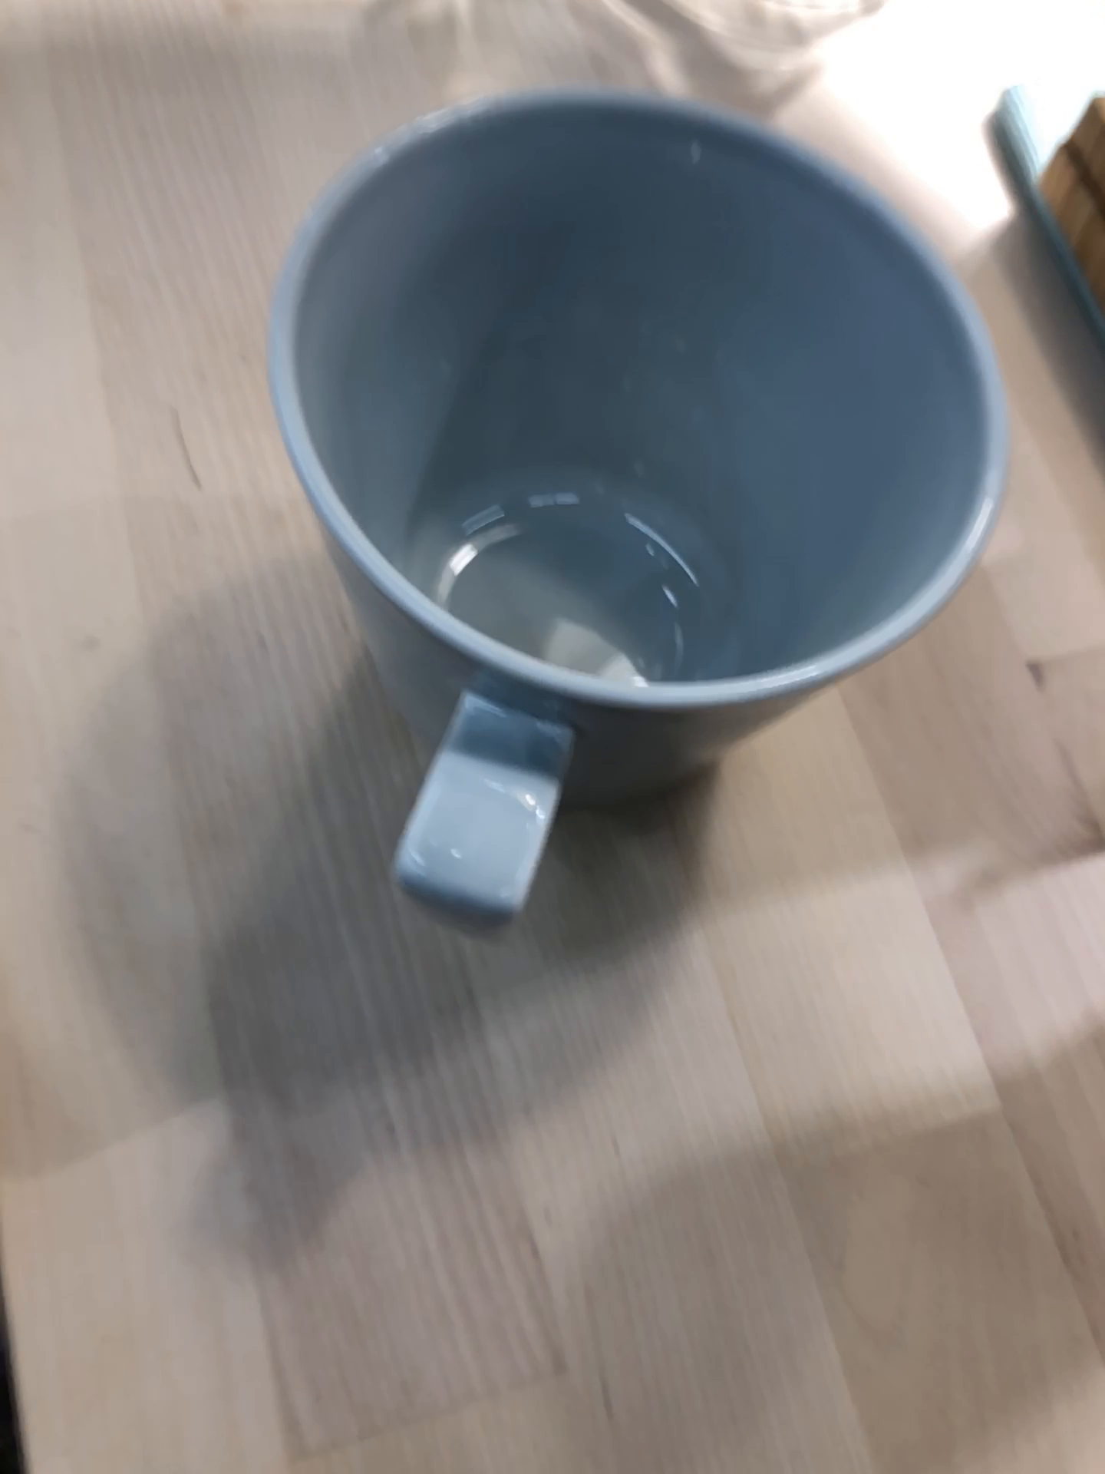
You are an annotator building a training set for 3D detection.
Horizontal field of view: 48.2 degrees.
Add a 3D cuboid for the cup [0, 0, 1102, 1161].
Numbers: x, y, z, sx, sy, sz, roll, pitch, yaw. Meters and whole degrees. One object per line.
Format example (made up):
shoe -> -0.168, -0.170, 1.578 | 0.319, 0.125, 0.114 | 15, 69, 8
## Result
cup -> 0.006, -0.024, 0.199 | 0.110, 0.080, 0.141 | 21, 65, 0
